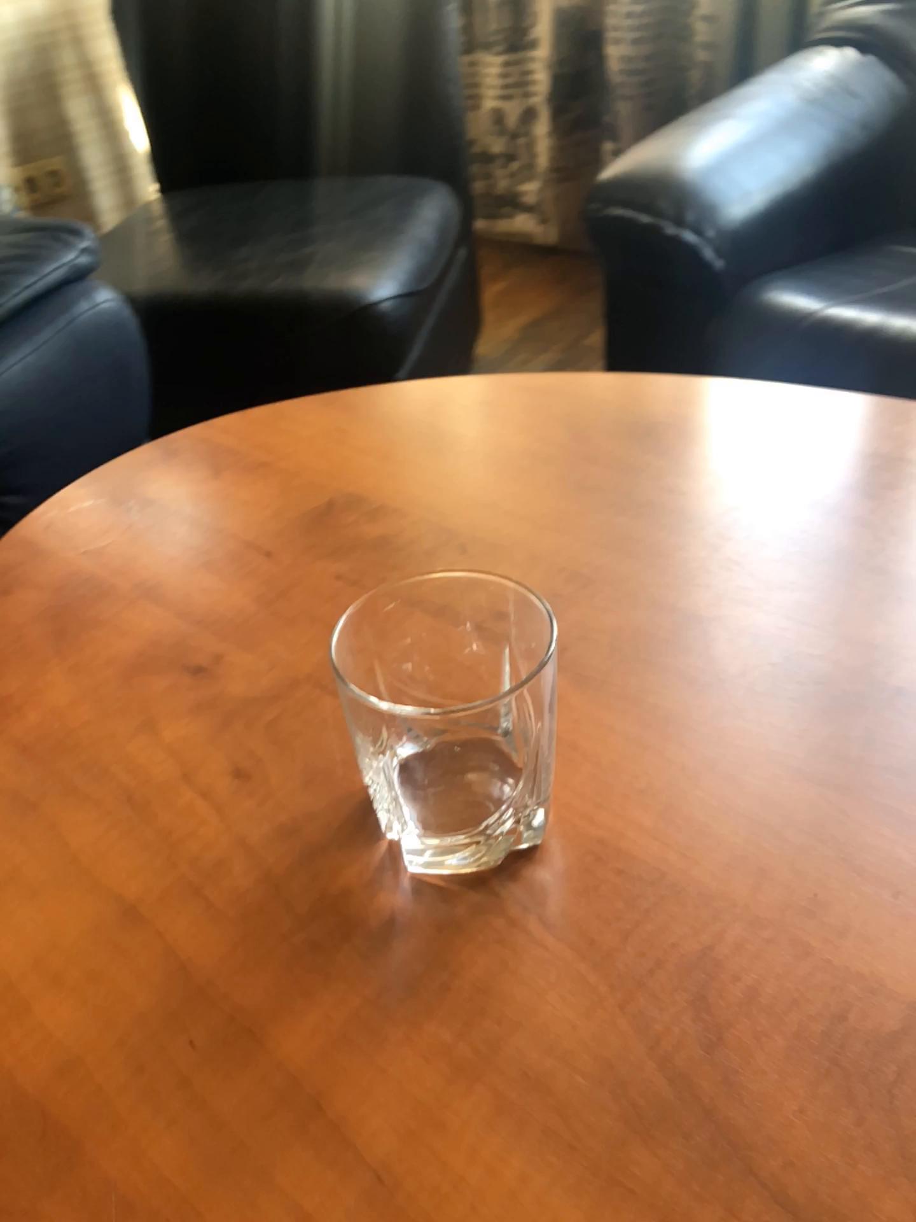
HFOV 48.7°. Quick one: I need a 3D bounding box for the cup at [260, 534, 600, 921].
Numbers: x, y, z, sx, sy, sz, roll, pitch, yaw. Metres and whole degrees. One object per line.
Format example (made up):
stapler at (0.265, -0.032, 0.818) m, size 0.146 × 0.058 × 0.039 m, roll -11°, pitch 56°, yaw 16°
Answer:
cup at (-0.003, 0.038, 0.373) m, size 0.089 × 0.086 × 0.095 m, roll -4°, pitch 36°, yaw 3°
